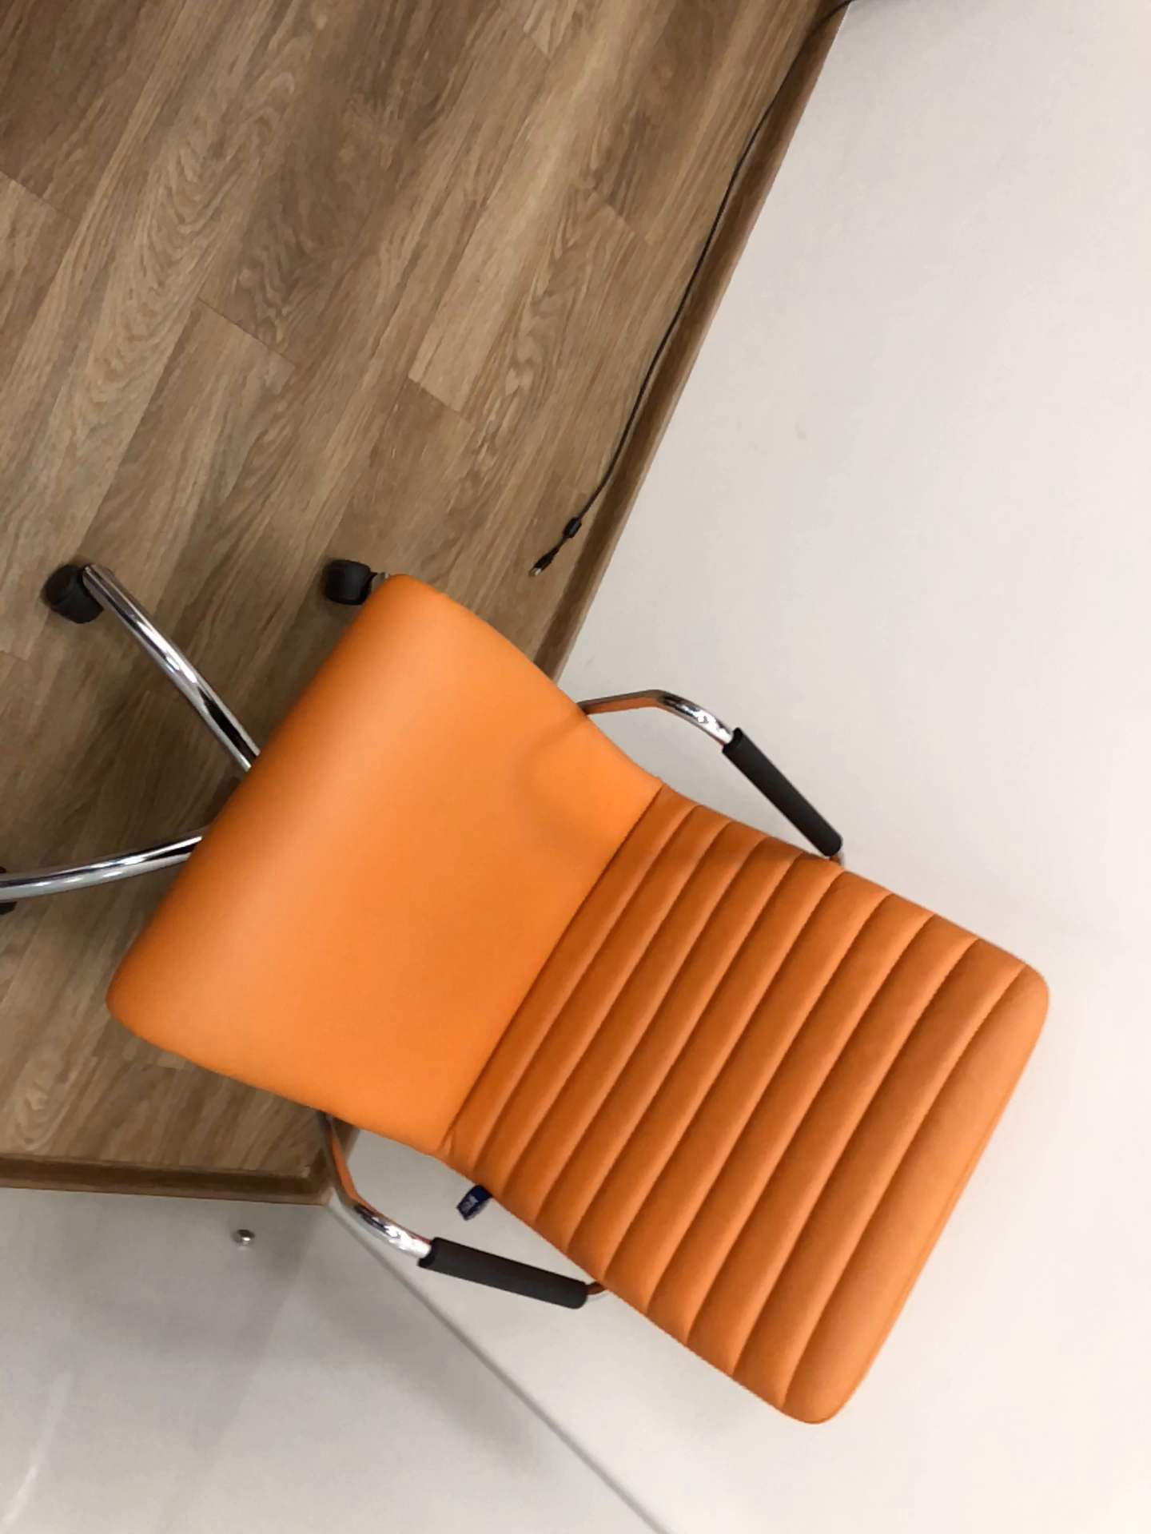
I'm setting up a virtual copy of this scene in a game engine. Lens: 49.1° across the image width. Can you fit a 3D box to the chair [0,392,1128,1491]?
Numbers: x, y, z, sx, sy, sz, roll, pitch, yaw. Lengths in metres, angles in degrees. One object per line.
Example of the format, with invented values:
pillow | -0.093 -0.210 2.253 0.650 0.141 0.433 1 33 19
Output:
chair | -0.106 0.120 1.248 0.663 0.895 0.620 34 81 -46
